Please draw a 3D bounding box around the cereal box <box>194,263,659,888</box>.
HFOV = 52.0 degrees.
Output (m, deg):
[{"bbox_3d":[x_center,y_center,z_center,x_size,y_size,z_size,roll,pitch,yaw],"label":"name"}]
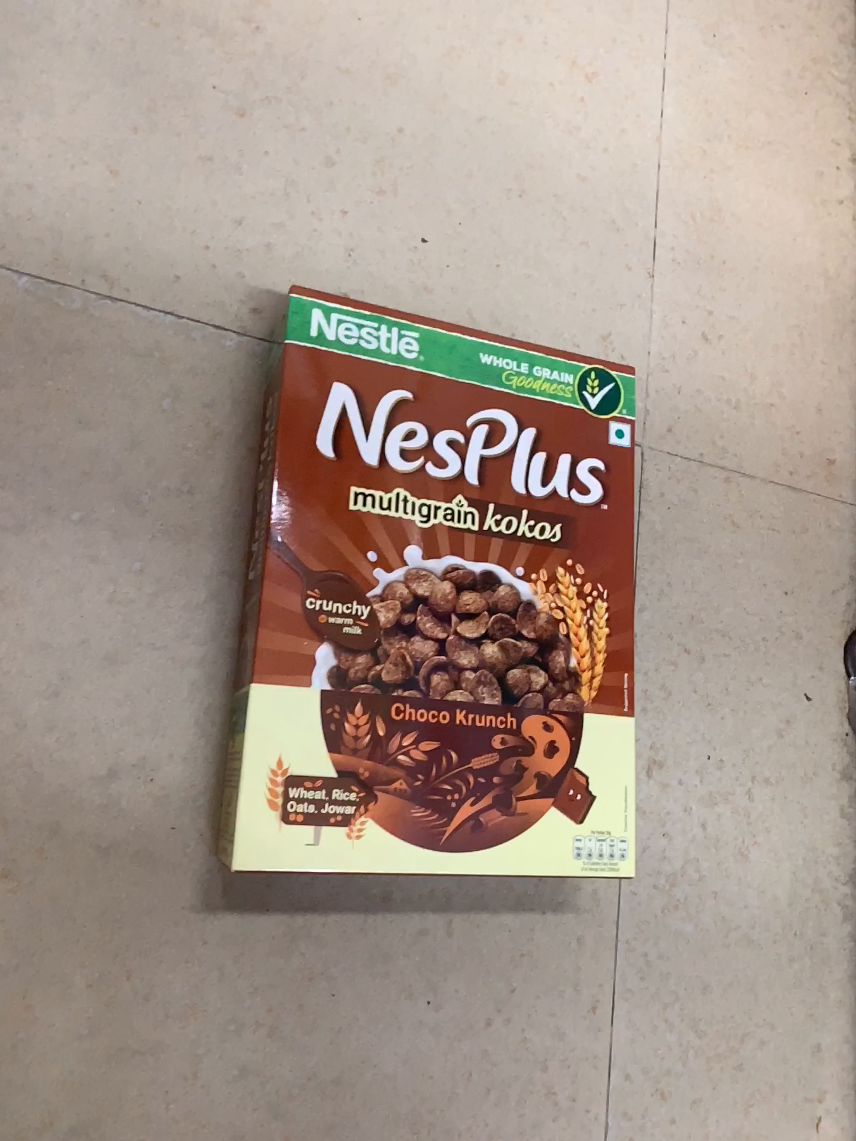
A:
[{"bbox_3d":[0.006,0.012,0.464,0.210,0.090,0.280,9,76,-20],"label":"cereal box"}]
